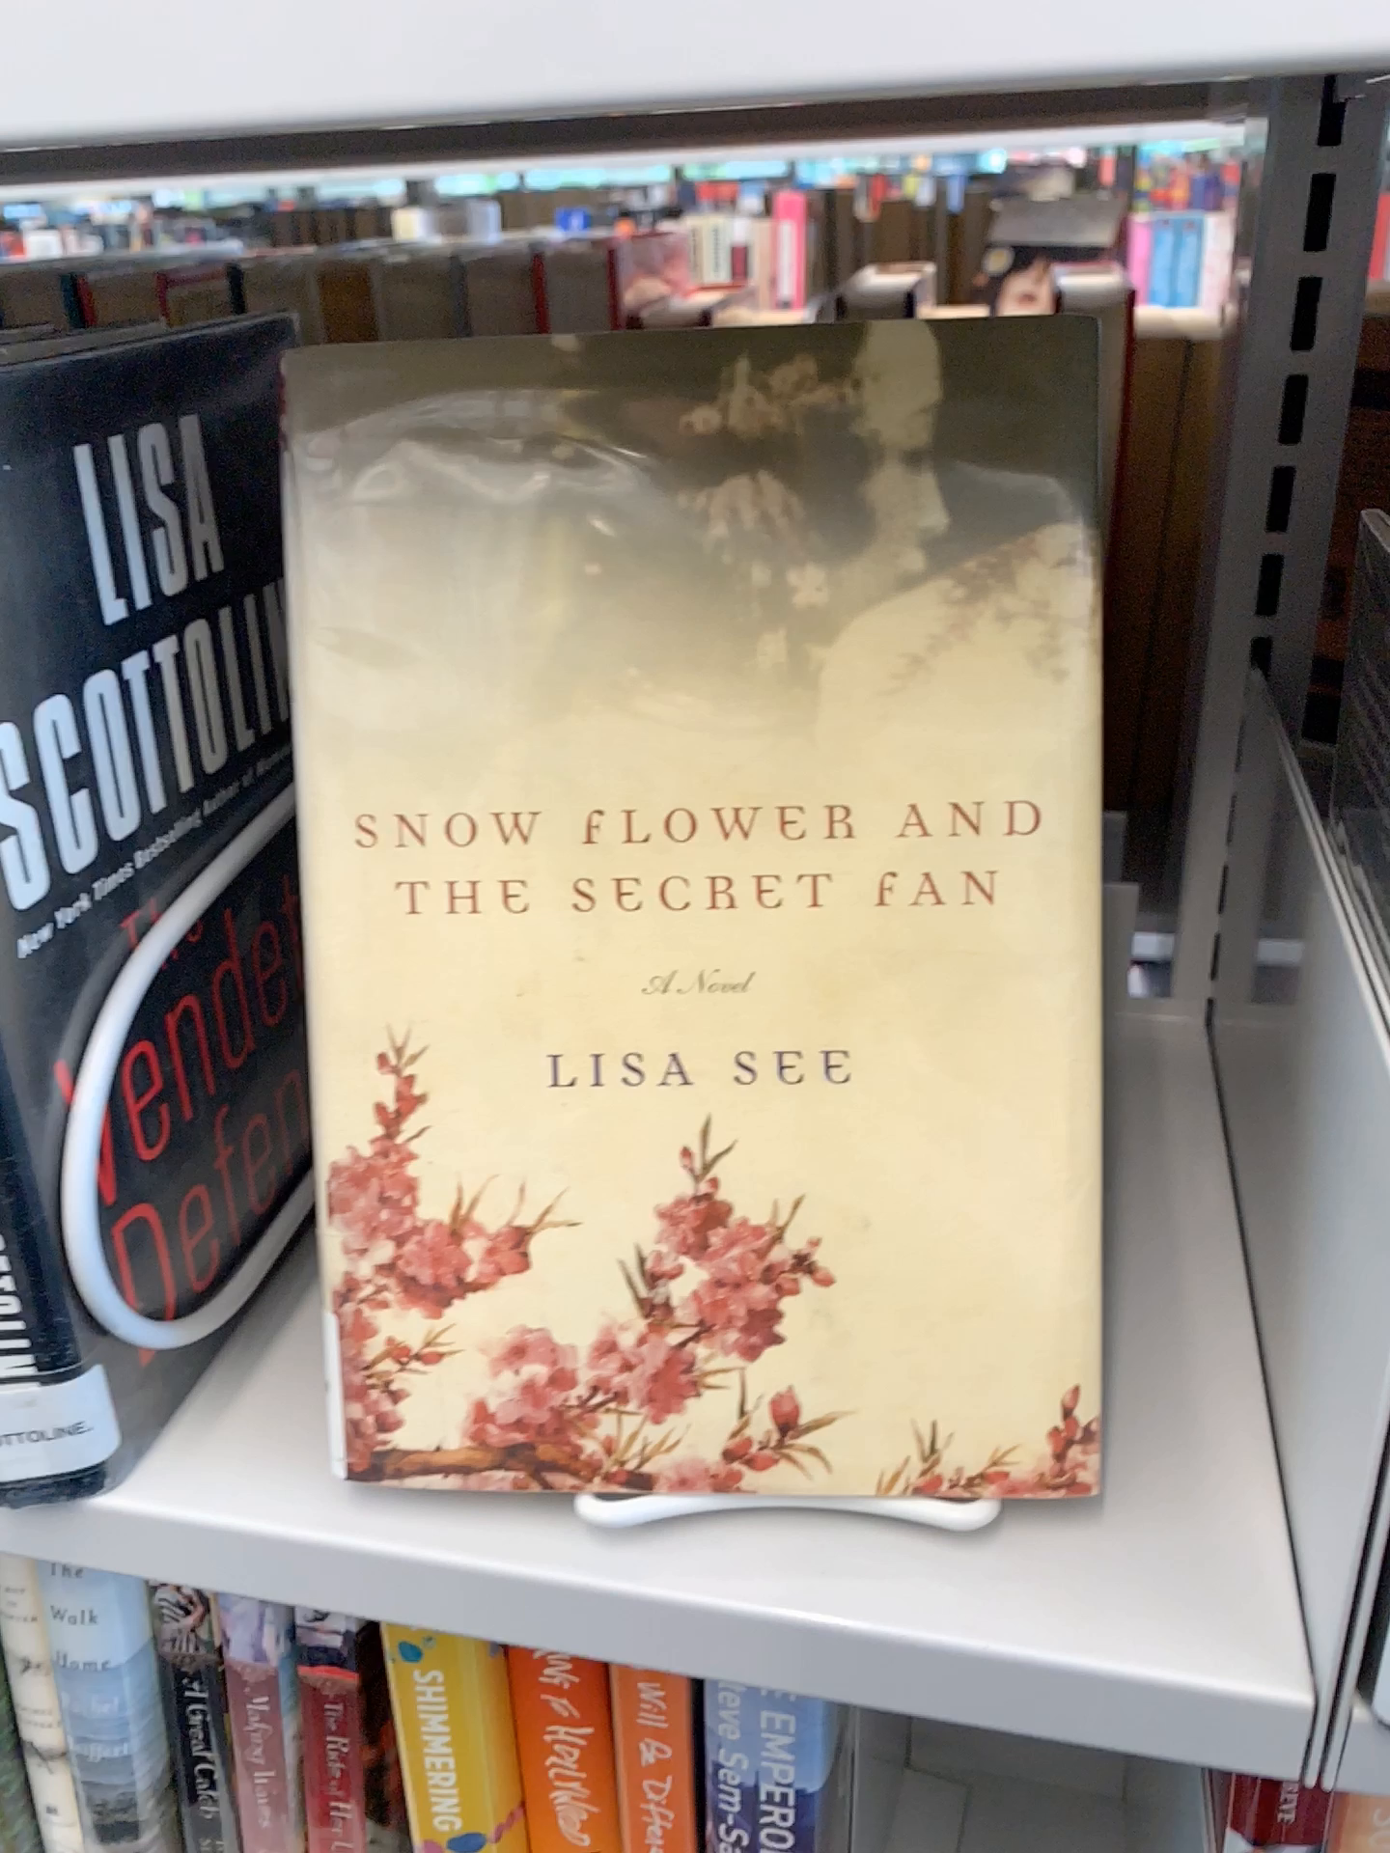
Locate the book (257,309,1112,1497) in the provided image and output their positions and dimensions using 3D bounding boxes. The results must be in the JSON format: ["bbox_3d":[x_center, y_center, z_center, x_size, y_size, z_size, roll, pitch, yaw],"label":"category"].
[{"bbox_3d":[0.001,-0.001,0.305,0.162,0.231,0.041,-1,5,4],"label":"book"}]
